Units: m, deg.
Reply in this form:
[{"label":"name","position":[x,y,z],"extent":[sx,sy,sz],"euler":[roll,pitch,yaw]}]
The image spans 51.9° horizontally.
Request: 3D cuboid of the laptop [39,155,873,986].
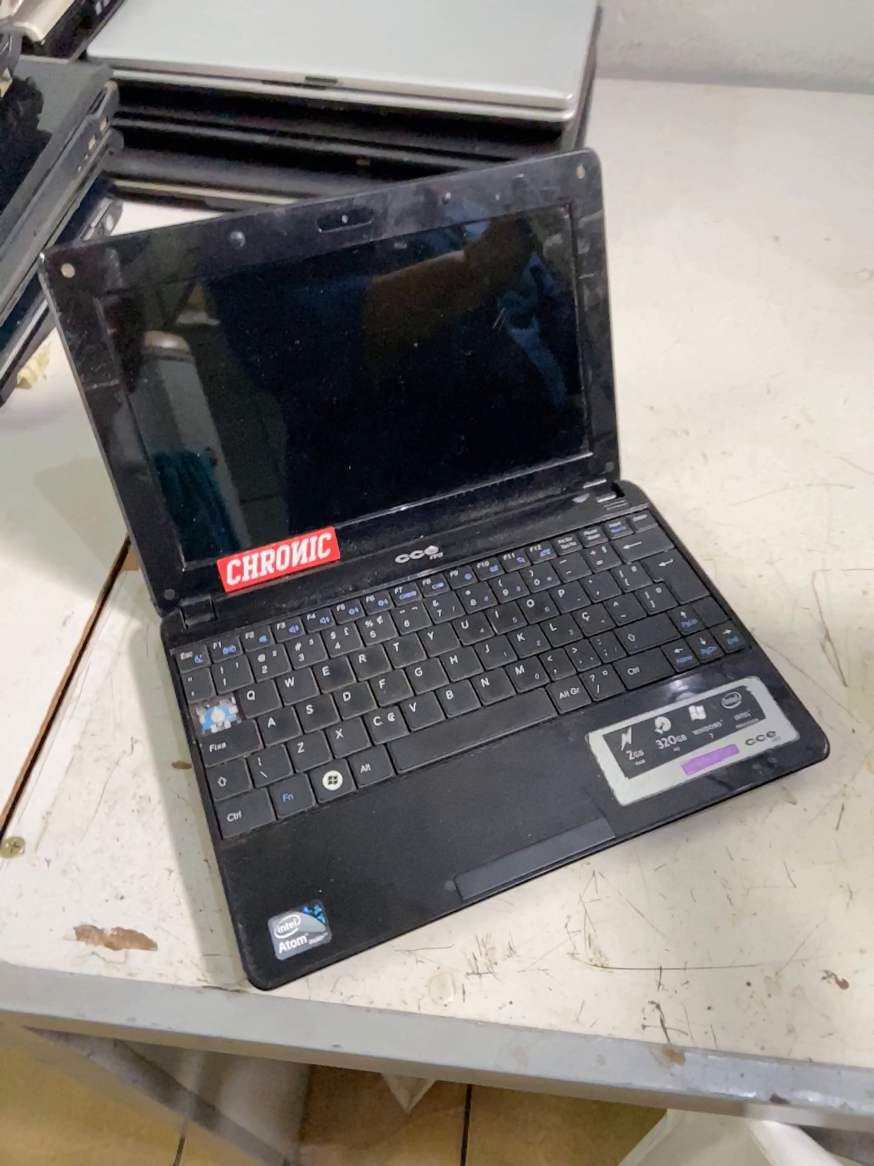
[{"label":"laptop","position":[0.003,-0.027,0.376],"extent":[0.253,0.137,0.258],"euler":[-17,55,-14]}]
